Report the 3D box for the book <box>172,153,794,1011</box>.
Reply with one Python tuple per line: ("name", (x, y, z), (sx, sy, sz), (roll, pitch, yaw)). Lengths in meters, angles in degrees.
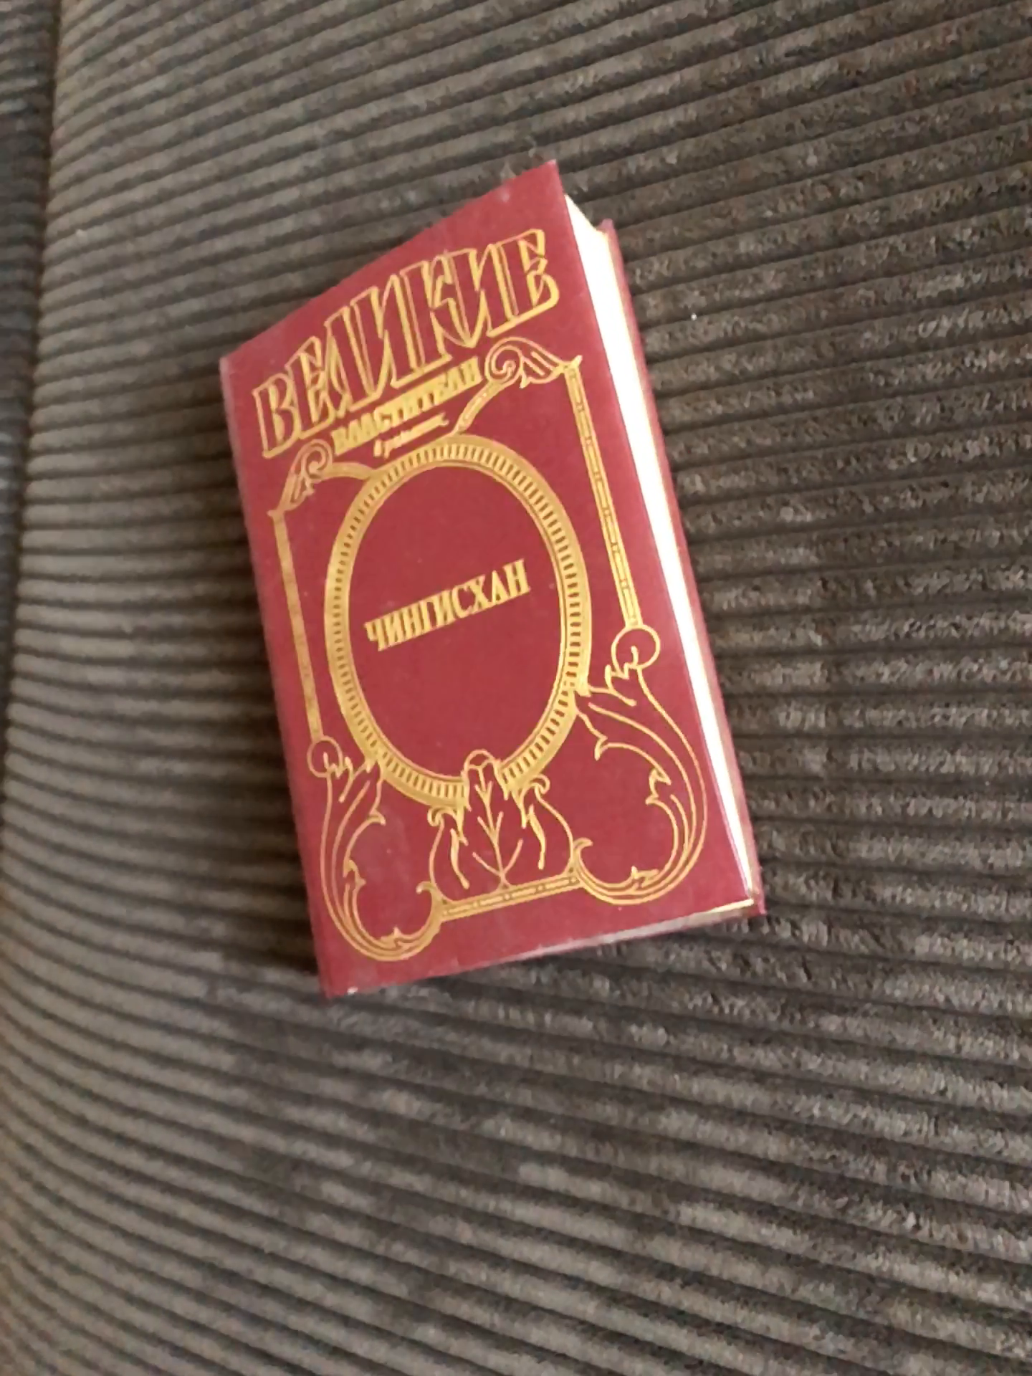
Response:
("book", (-0.018, -0.023, 0.336), (0.138, 0.050, 0.202), (-20, 75, 28))
